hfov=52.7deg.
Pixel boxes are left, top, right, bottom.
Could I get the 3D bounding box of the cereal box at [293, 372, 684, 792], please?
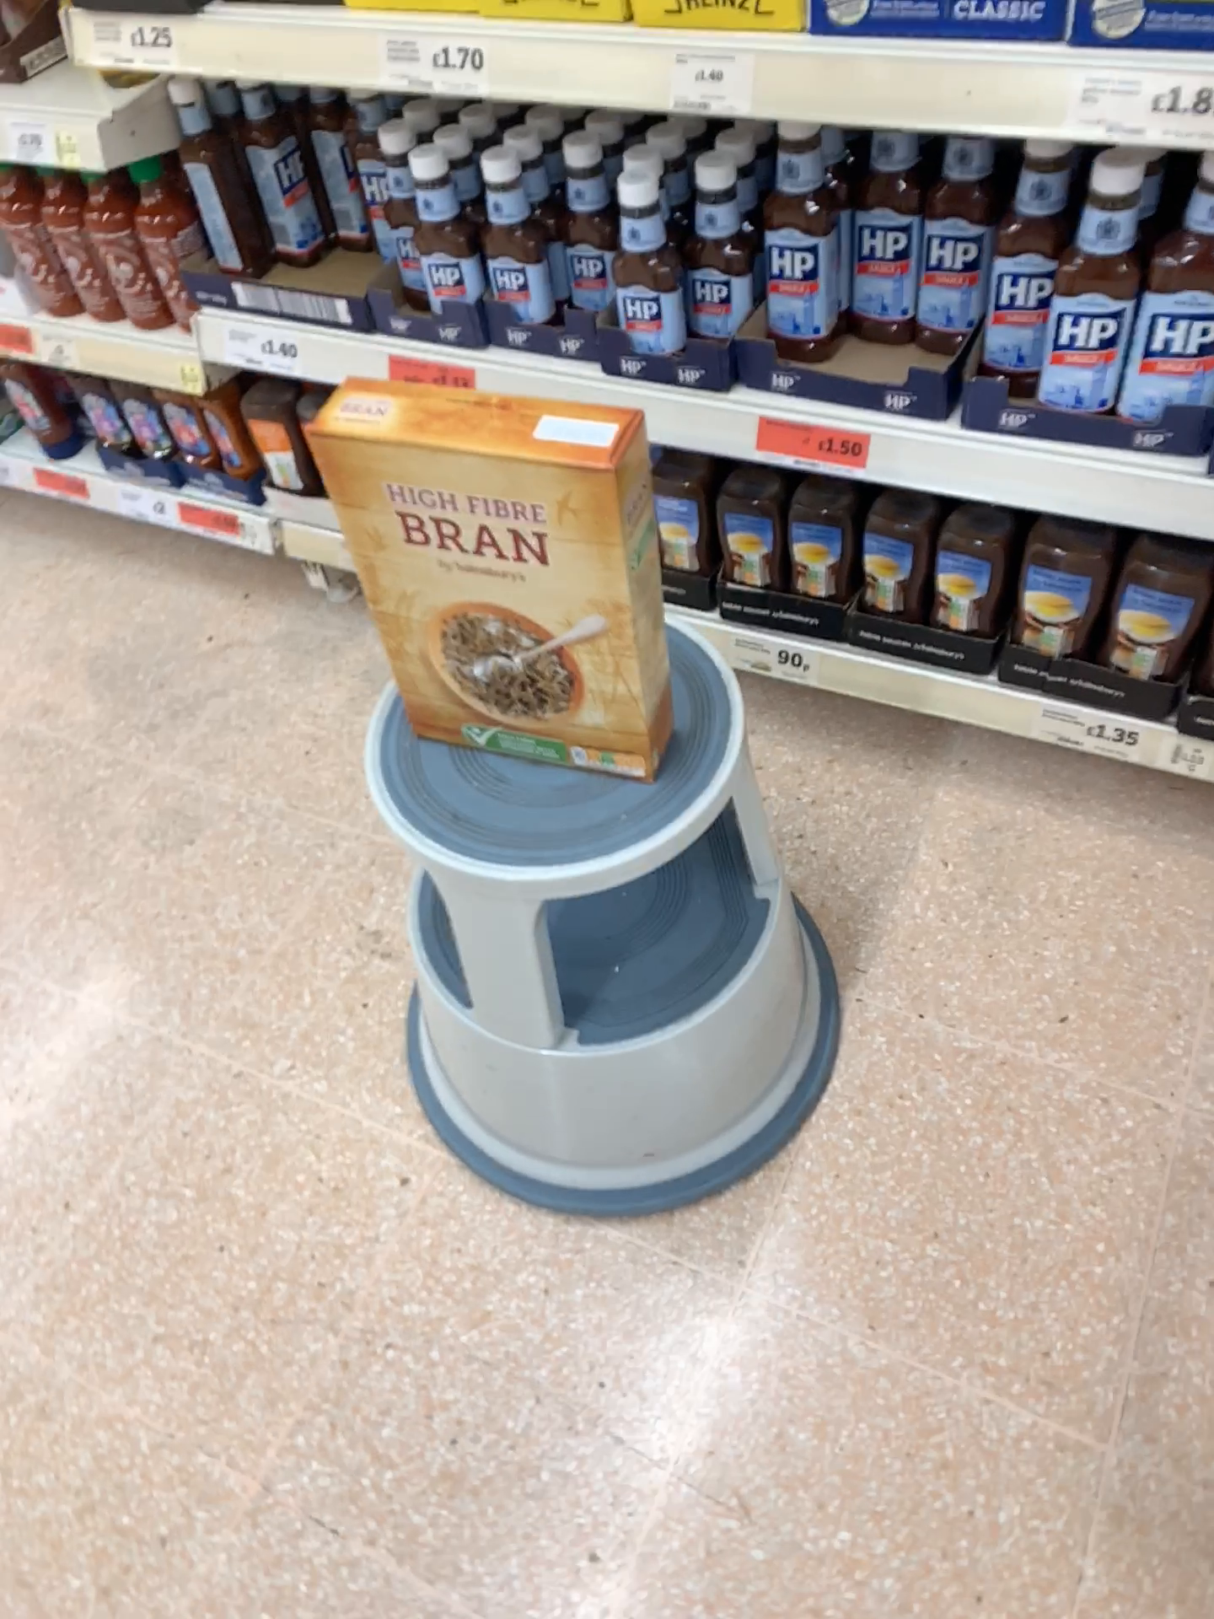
[{"bbox_3d":[-0.064,-0.141,0.815,0.200,0.278,0.060,11,54,18],"label":"cereal box"}]
